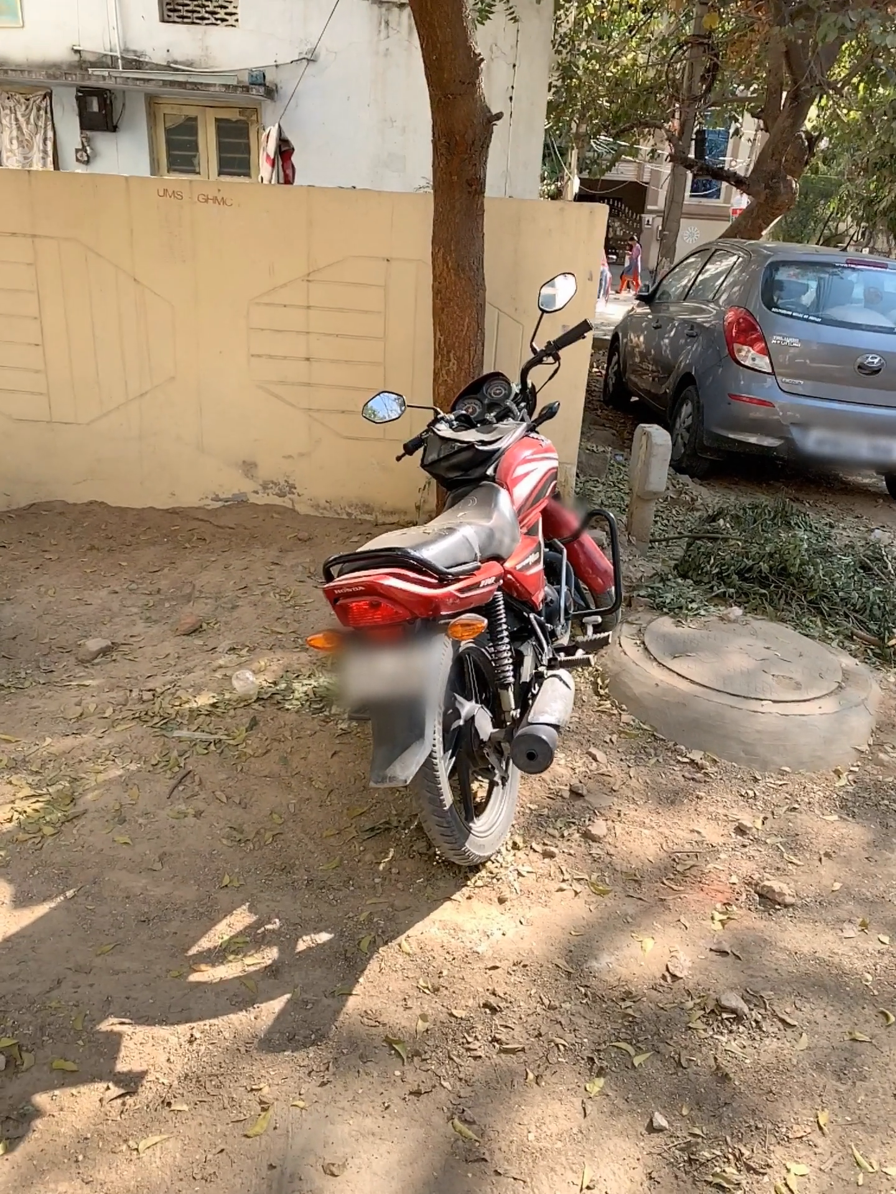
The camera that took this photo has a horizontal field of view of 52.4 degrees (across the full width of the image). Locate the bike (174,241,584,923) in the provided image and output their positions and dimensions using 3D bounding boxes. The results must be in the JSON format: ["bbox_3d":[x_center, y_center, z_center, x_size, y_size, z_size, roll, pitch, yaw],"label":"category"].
[{"bbox_3d":[-0.076,-0.266,2.642,0.775,1.179,1.649,6,26,8],"label":"bike"}]
